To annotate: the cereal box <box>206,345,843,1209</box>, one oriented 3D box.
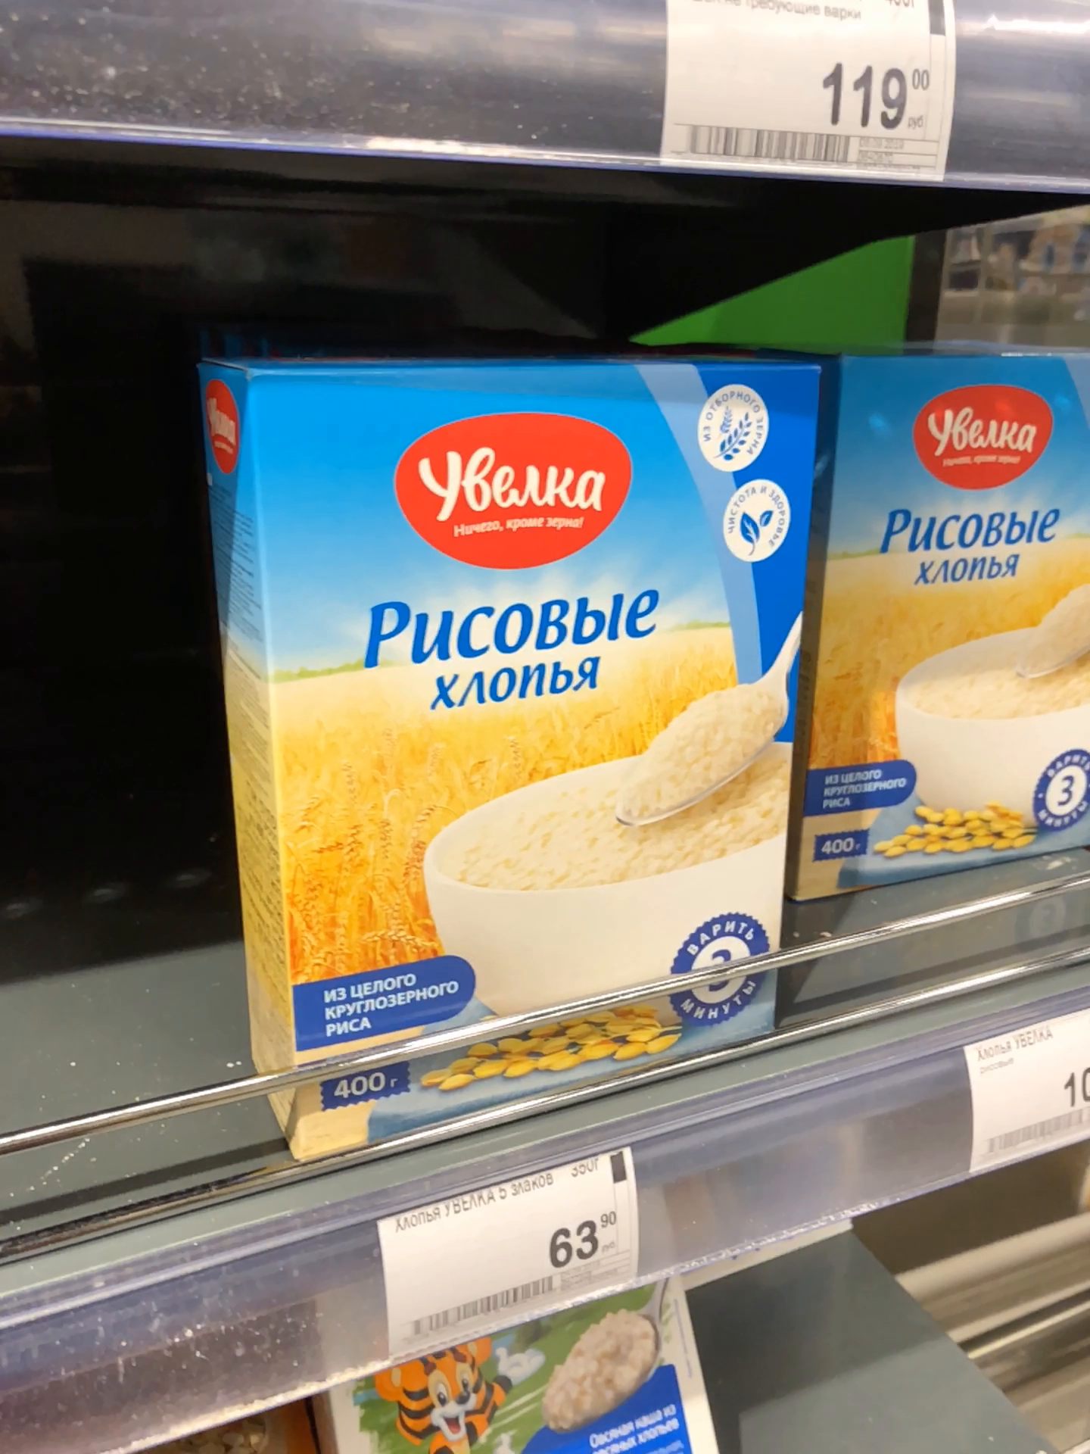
[{"bbox_3d":[-0.005,0.004,0.319,0.140,0.199,0.060,-8,20,-25],"label":"cereal box"}]
